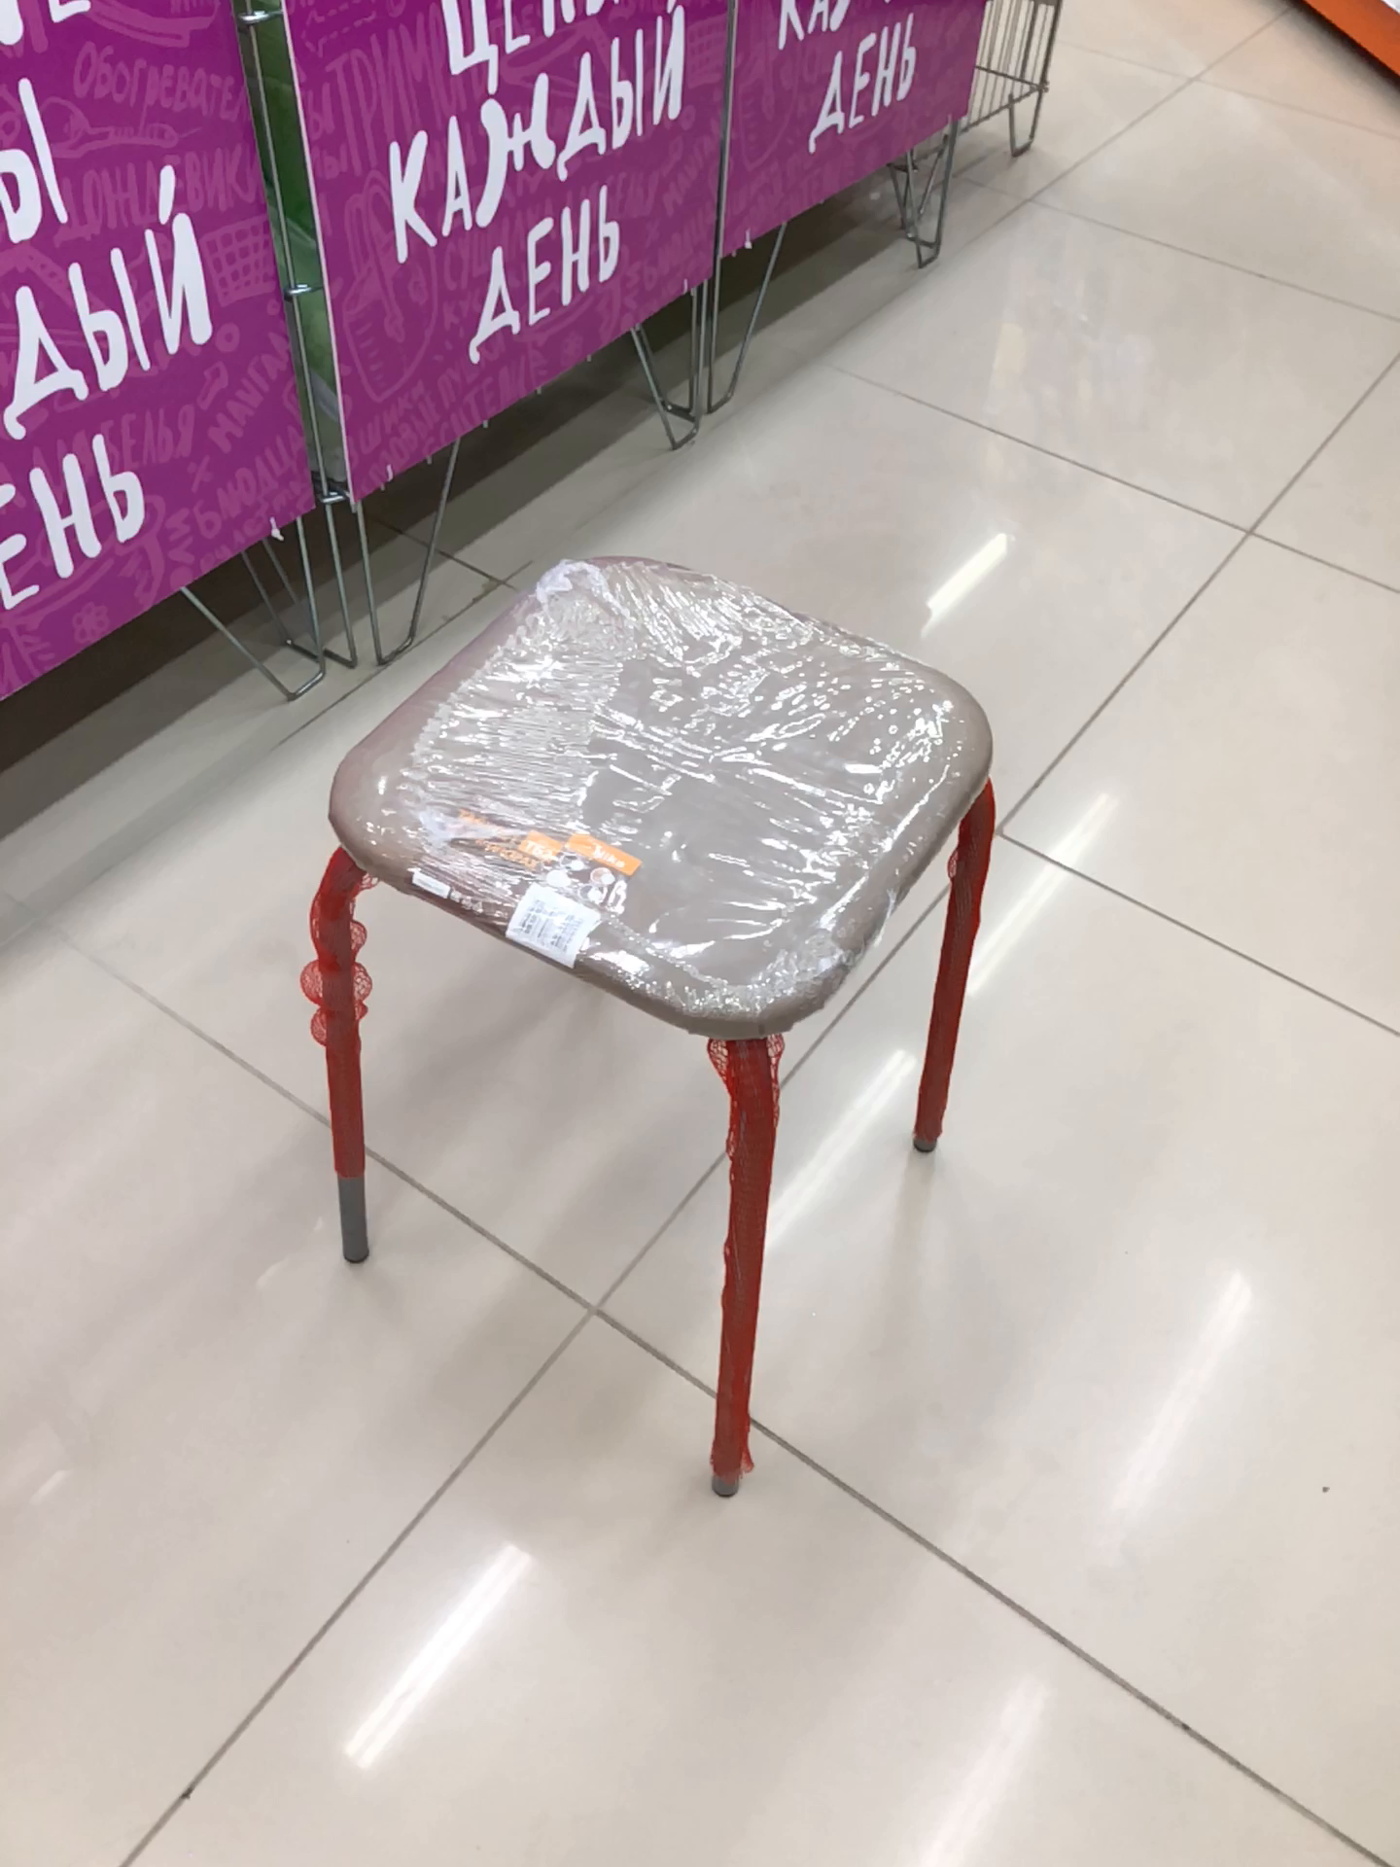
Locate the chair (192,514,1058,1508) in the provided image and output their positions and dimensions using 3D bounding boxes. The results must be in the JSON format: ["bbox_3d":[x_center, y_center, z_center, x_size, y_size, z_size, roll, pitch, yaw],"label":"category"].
[{"bbox_3d":[-0.035,0.055,0.972,0.330,0.437,0.332,25,52,18],"label":"chair"}]
